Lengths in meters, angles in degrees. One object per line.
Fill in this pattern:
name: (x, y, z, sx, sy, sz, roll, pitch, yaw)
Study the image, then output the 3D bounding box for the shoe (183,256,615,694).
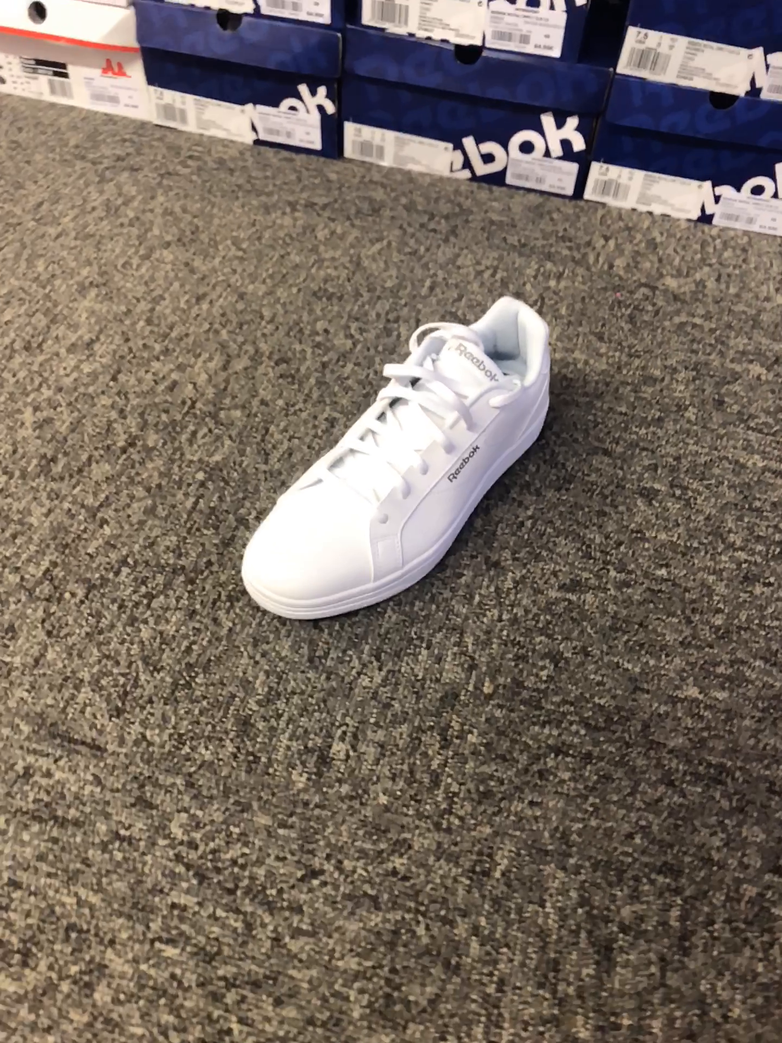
shoe: (0.015, -0.037, 0.532, 0.100, 0.100, 0.261, 35, 64, 23)
